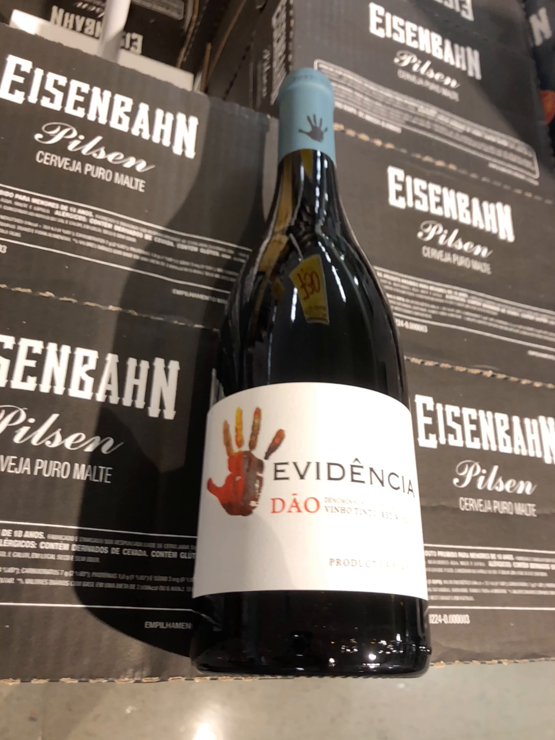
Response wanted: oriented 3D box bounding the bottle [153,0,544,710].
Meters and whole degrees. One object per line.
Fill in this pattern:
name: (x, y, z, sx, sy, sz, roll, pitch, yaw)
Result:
bottle: (0.022, -0.045, 0.272, 0.100, 0.090, 0.331, 11, 66, -20)
